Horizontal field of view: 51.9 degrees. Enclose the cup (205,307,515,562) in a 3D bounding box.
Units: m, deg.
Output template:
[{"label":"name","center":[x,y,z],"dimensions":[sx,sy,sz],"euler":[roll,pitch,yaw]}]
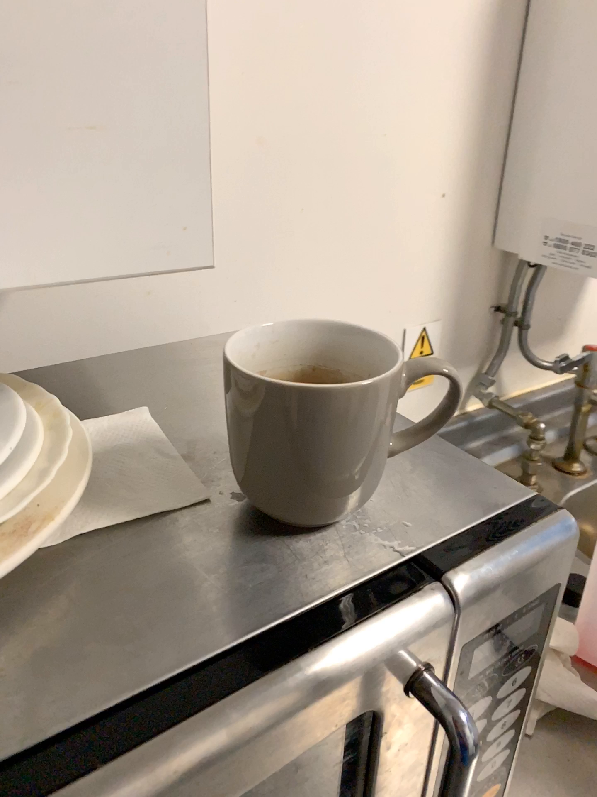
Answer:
[{"label":"cup","center":[0.023,0.010,0.319],"dimensions":[0.124,0.079,0.102],"euler":[-6,26,-16]}]
